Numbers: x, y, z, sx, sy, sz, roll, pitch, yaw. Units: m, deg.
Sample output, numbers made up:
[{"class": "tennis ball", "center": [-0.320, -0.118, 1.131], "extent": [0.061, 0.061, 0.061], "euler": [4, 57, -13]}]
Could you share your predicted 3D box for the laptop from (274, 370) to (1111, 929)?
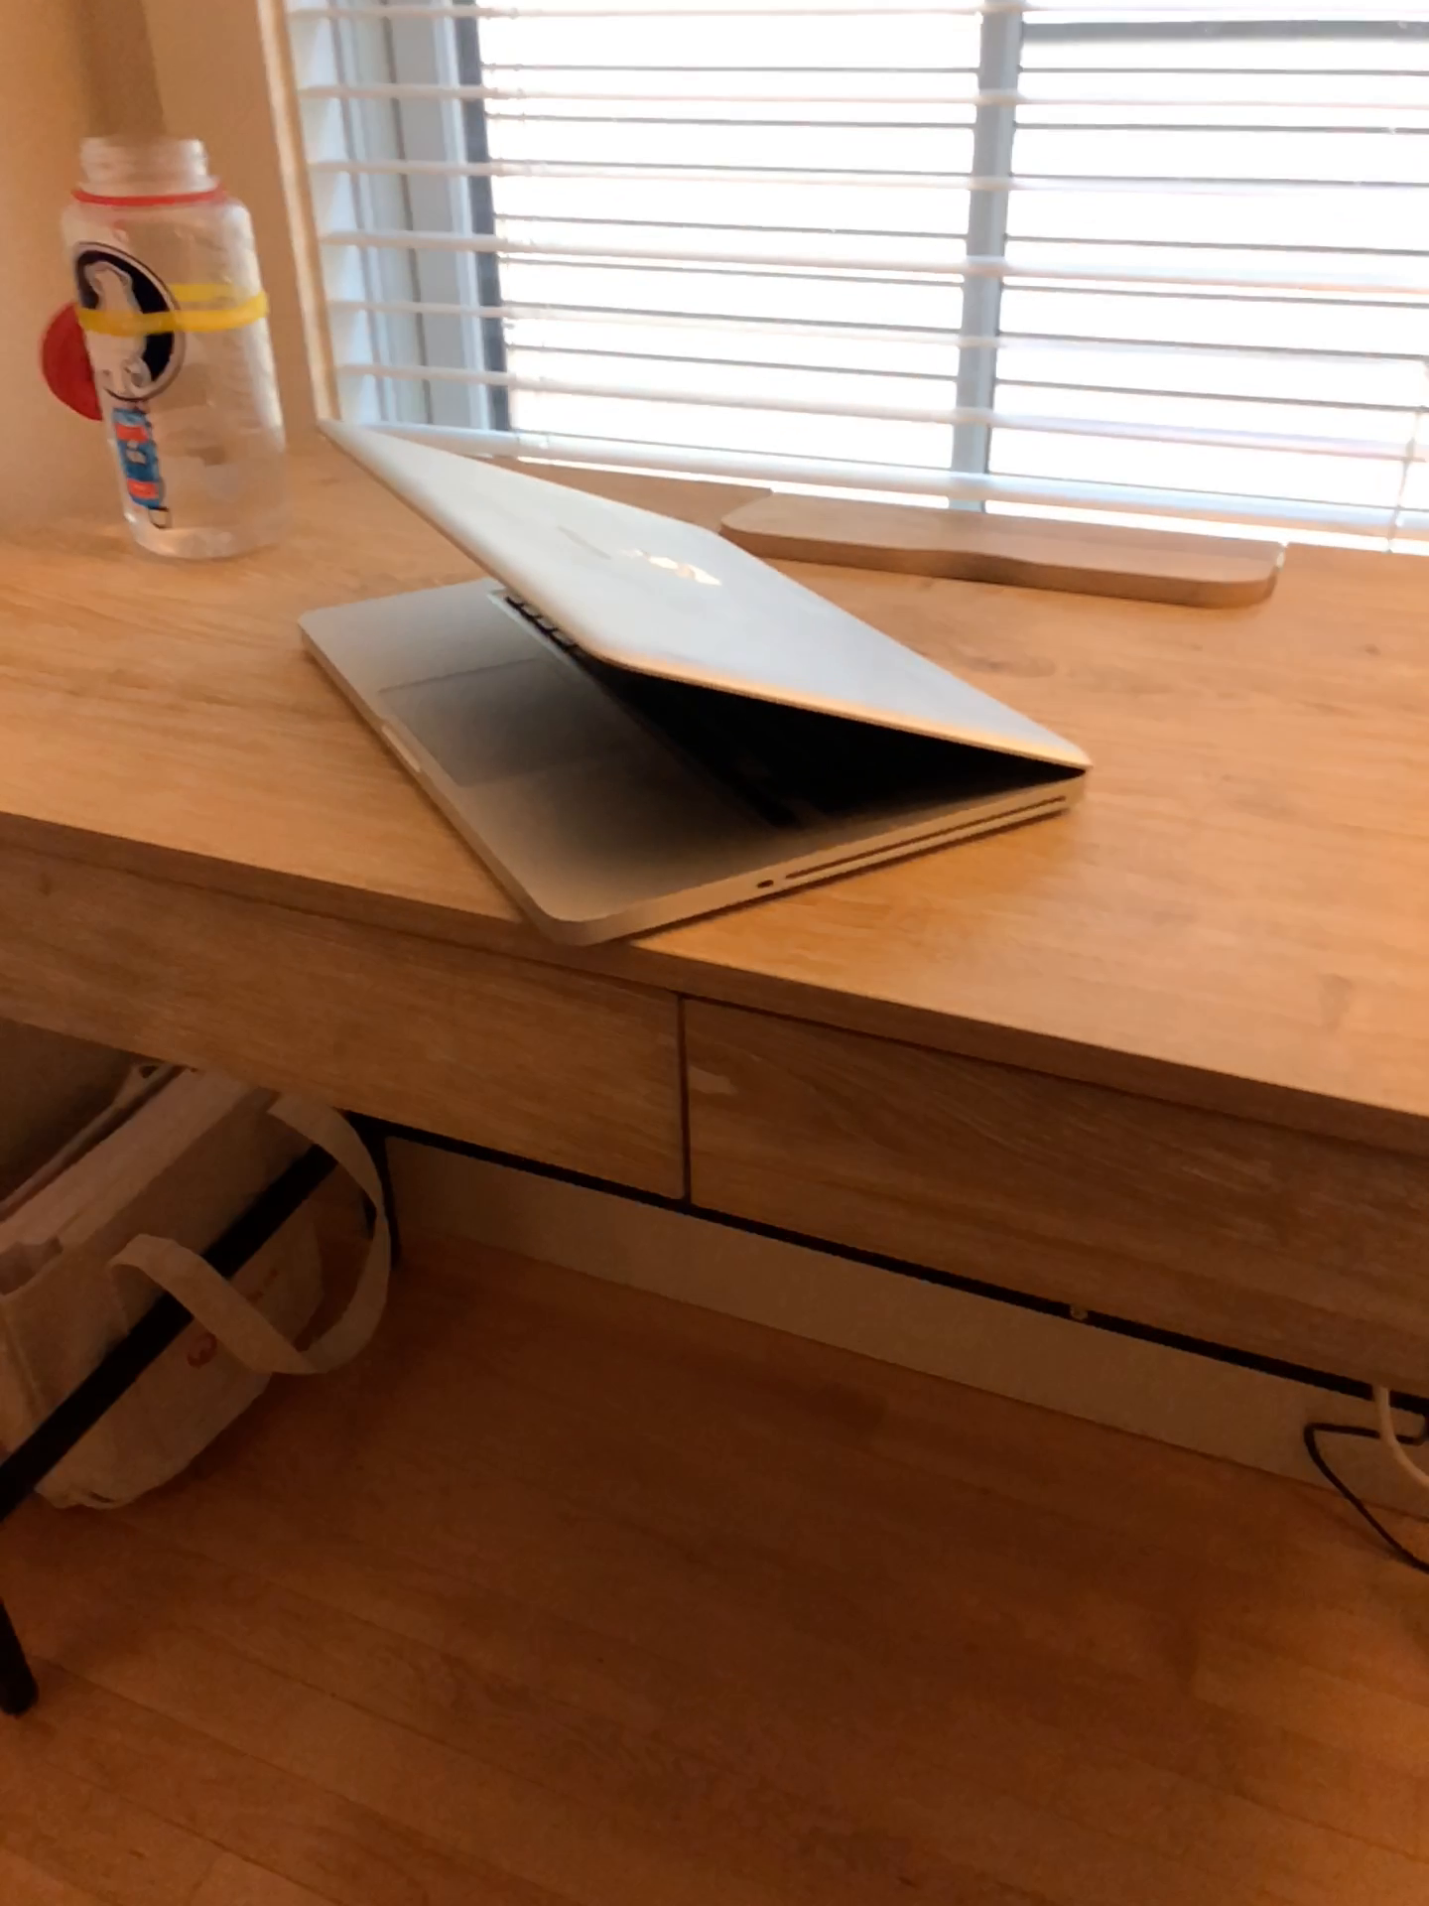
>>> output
[{"class": "laptop", "center": [-0.027, -0.143, 0.619], "extent": [0.209, 0.082, 0.301], "euler": [-17, 36, -22]}]
